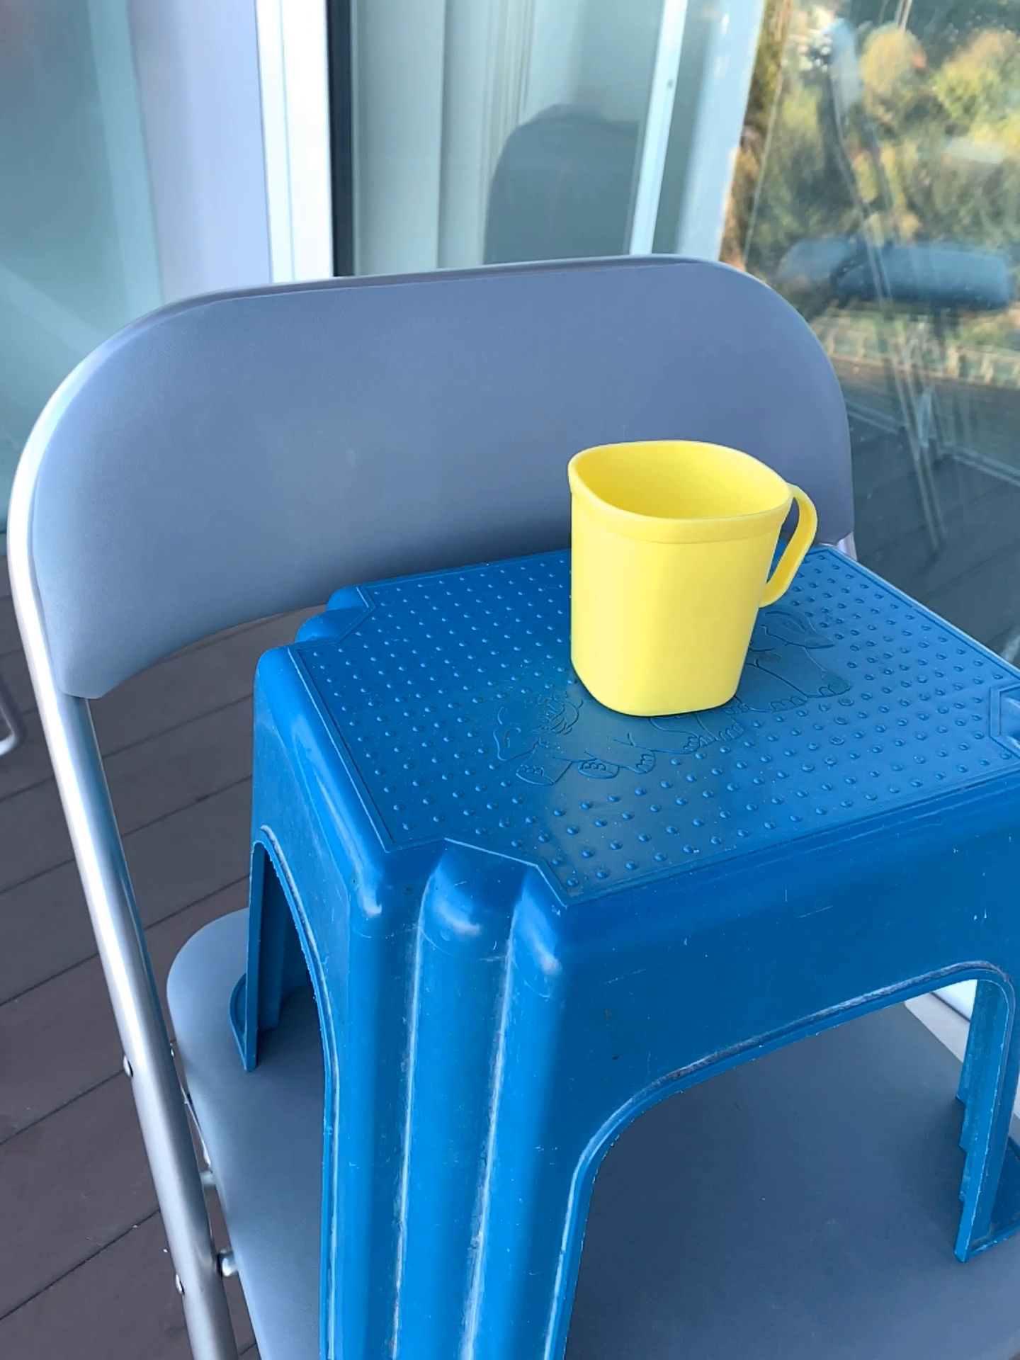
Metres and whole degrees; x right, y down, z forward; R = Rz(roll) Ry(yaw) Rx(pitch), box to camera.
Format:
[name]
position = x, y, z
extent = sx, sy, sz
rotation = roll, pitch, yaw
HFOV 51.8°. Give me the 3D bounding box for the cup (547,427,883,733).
[cup]
position = 0.068, -0.038, 0.376
extent = 0.089, 0.077, 0.068
rotation = -8, 34, -15
